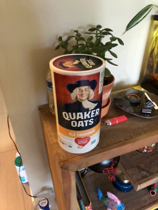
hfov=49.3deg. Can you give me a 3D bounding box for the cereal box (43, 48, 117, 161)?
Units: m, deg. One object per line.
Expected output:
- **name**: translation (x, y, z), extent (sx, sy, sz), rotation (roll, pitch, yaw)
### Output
- **cereal box**: translation (-0.008, 0.000, 0.451), extent (0.140, 0.248, 0.141), rotation (-6, 35, -9)
